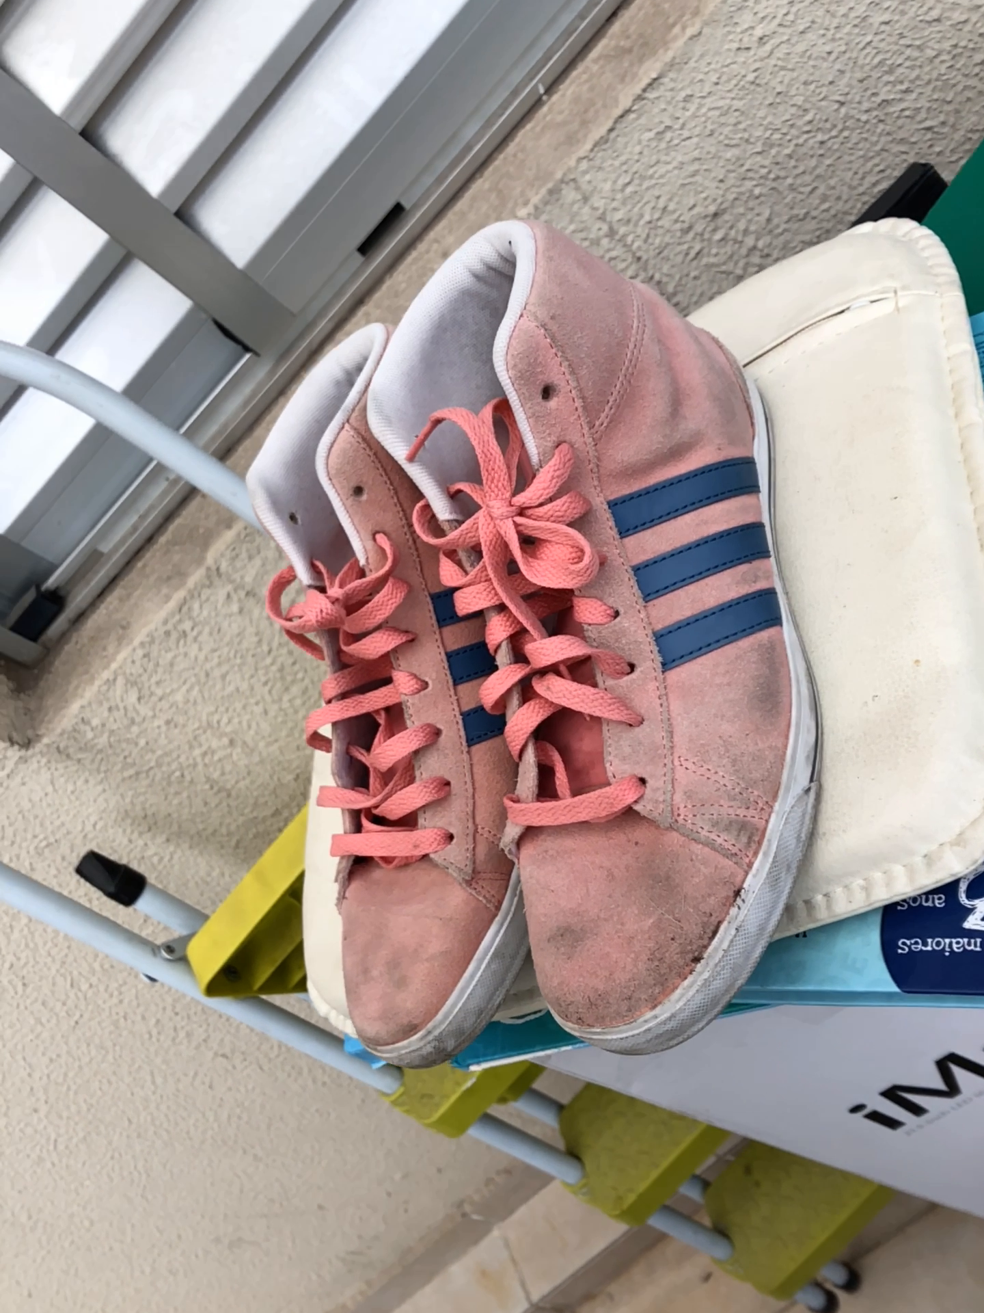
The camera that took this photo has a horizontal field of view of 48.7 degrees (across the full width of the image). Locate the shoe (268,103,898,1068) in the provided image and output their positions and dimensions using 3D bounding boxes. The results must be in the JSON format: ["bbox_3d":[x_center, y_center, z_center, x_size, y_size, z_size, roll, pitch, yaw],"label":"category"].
[{"bbox_3d":[0.038,-0.019,0.337,0.100,0.129,0.251,-20,50,36],"label":"shoe"}]

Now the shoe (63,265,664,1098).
[{"bbox_3d":[-0.030,0.011,0.397,0.100,0.129,0.251,-13,55,41],"label":"shoe"}]
